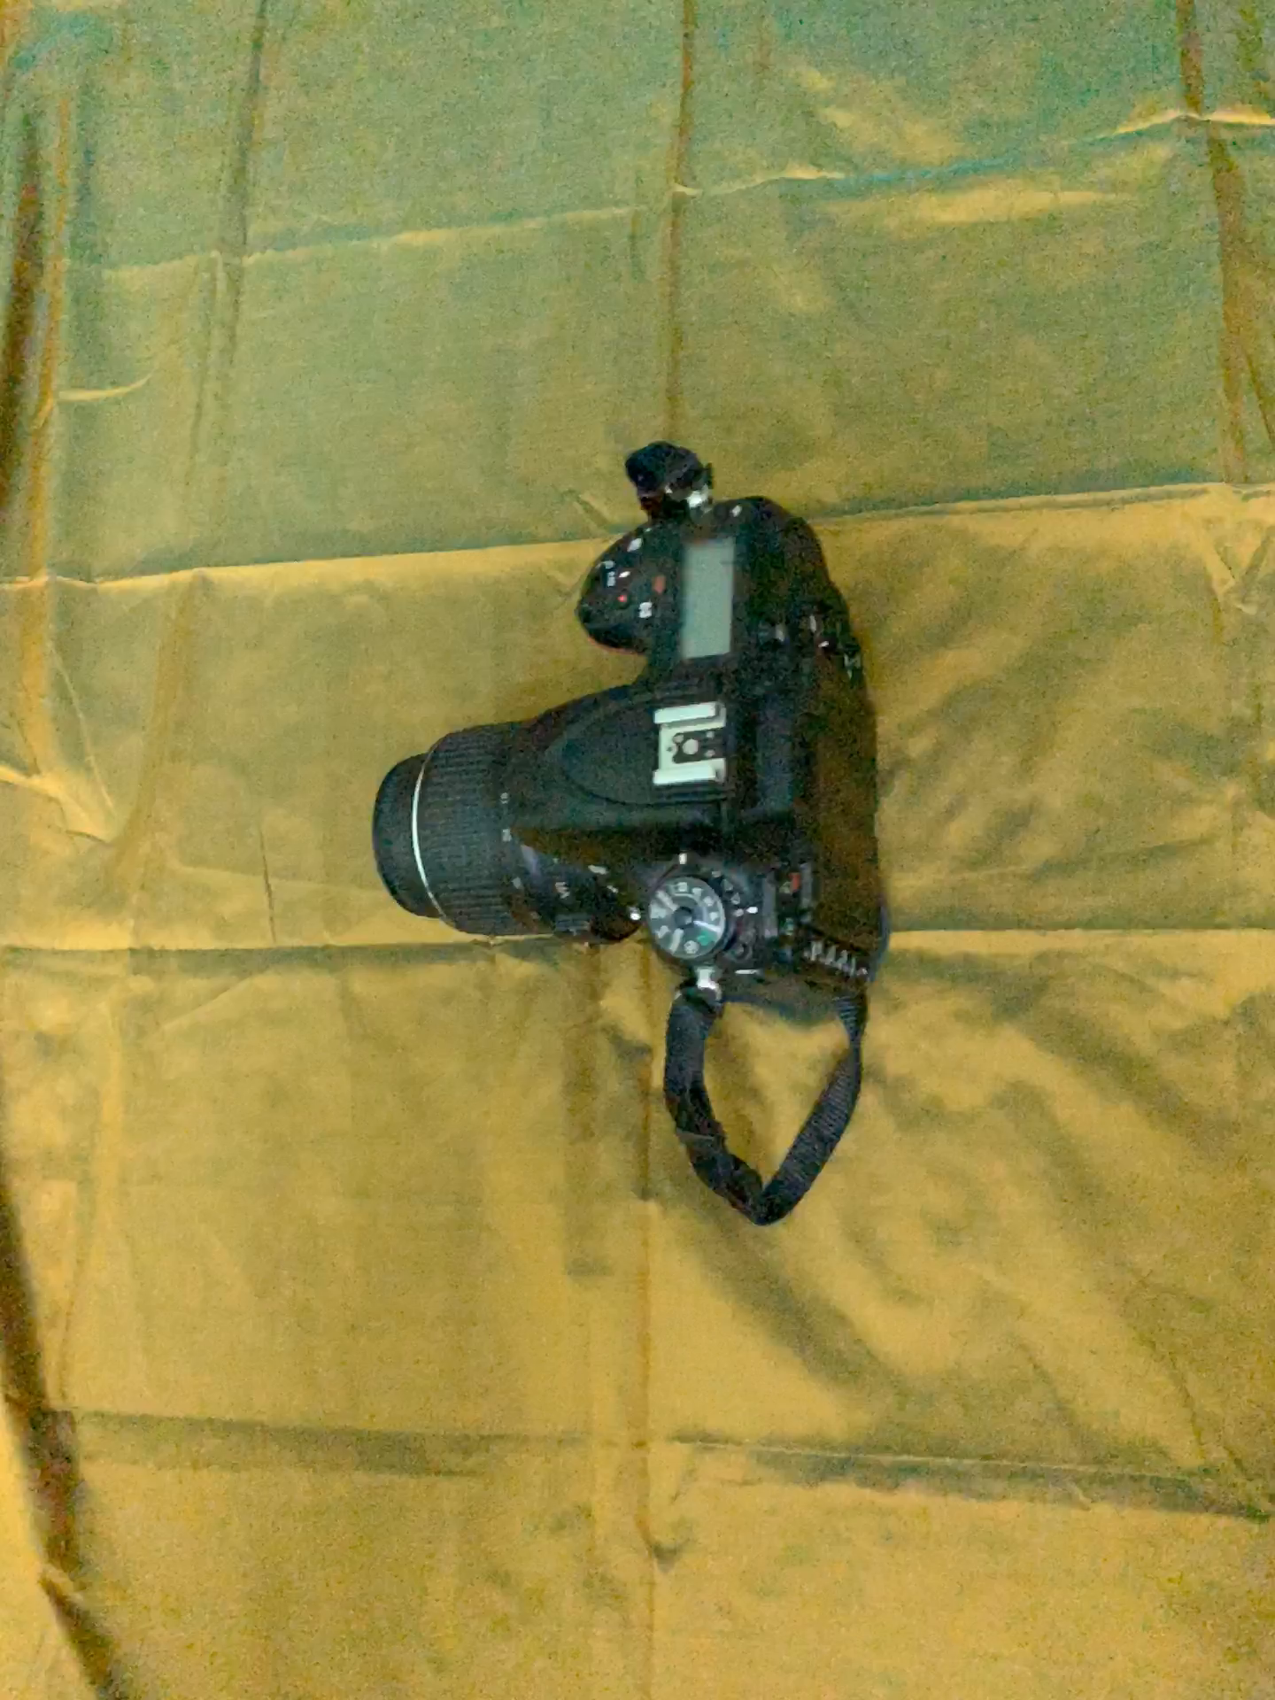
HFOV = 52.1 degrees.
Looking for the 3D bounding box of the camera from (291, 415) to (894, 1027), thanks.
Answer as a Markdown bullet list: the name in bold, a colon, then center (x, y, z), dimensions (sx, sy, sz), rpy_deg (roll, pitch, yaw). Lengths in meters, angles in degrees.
- **camera**: center (-0.006, -0.024, 0.392), dimensions (0.132, 0.120, 0.135), rpy_deg (-6, 73, 27)
